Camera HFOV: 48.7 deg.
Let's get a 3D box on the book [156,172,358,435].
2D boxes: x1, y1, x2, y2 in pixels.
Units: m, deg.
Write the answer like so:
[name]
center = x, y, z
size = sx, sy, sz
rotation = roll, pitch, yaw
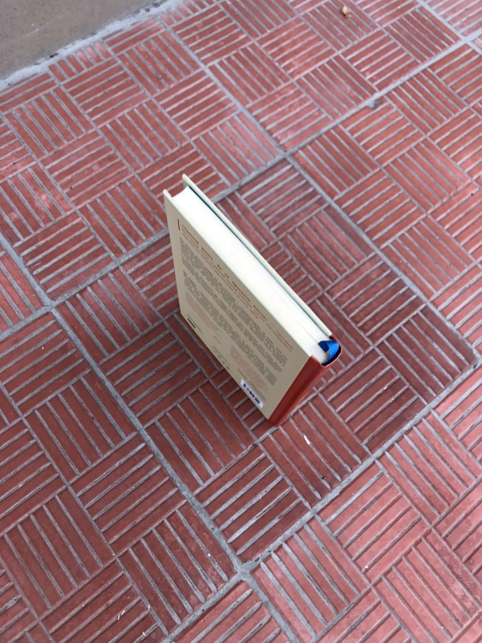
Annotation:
[book]
center = 0.001, 0.005, 0.389
size = 0.025, 0.197, 0.144
rotation = -38, 76, -15
